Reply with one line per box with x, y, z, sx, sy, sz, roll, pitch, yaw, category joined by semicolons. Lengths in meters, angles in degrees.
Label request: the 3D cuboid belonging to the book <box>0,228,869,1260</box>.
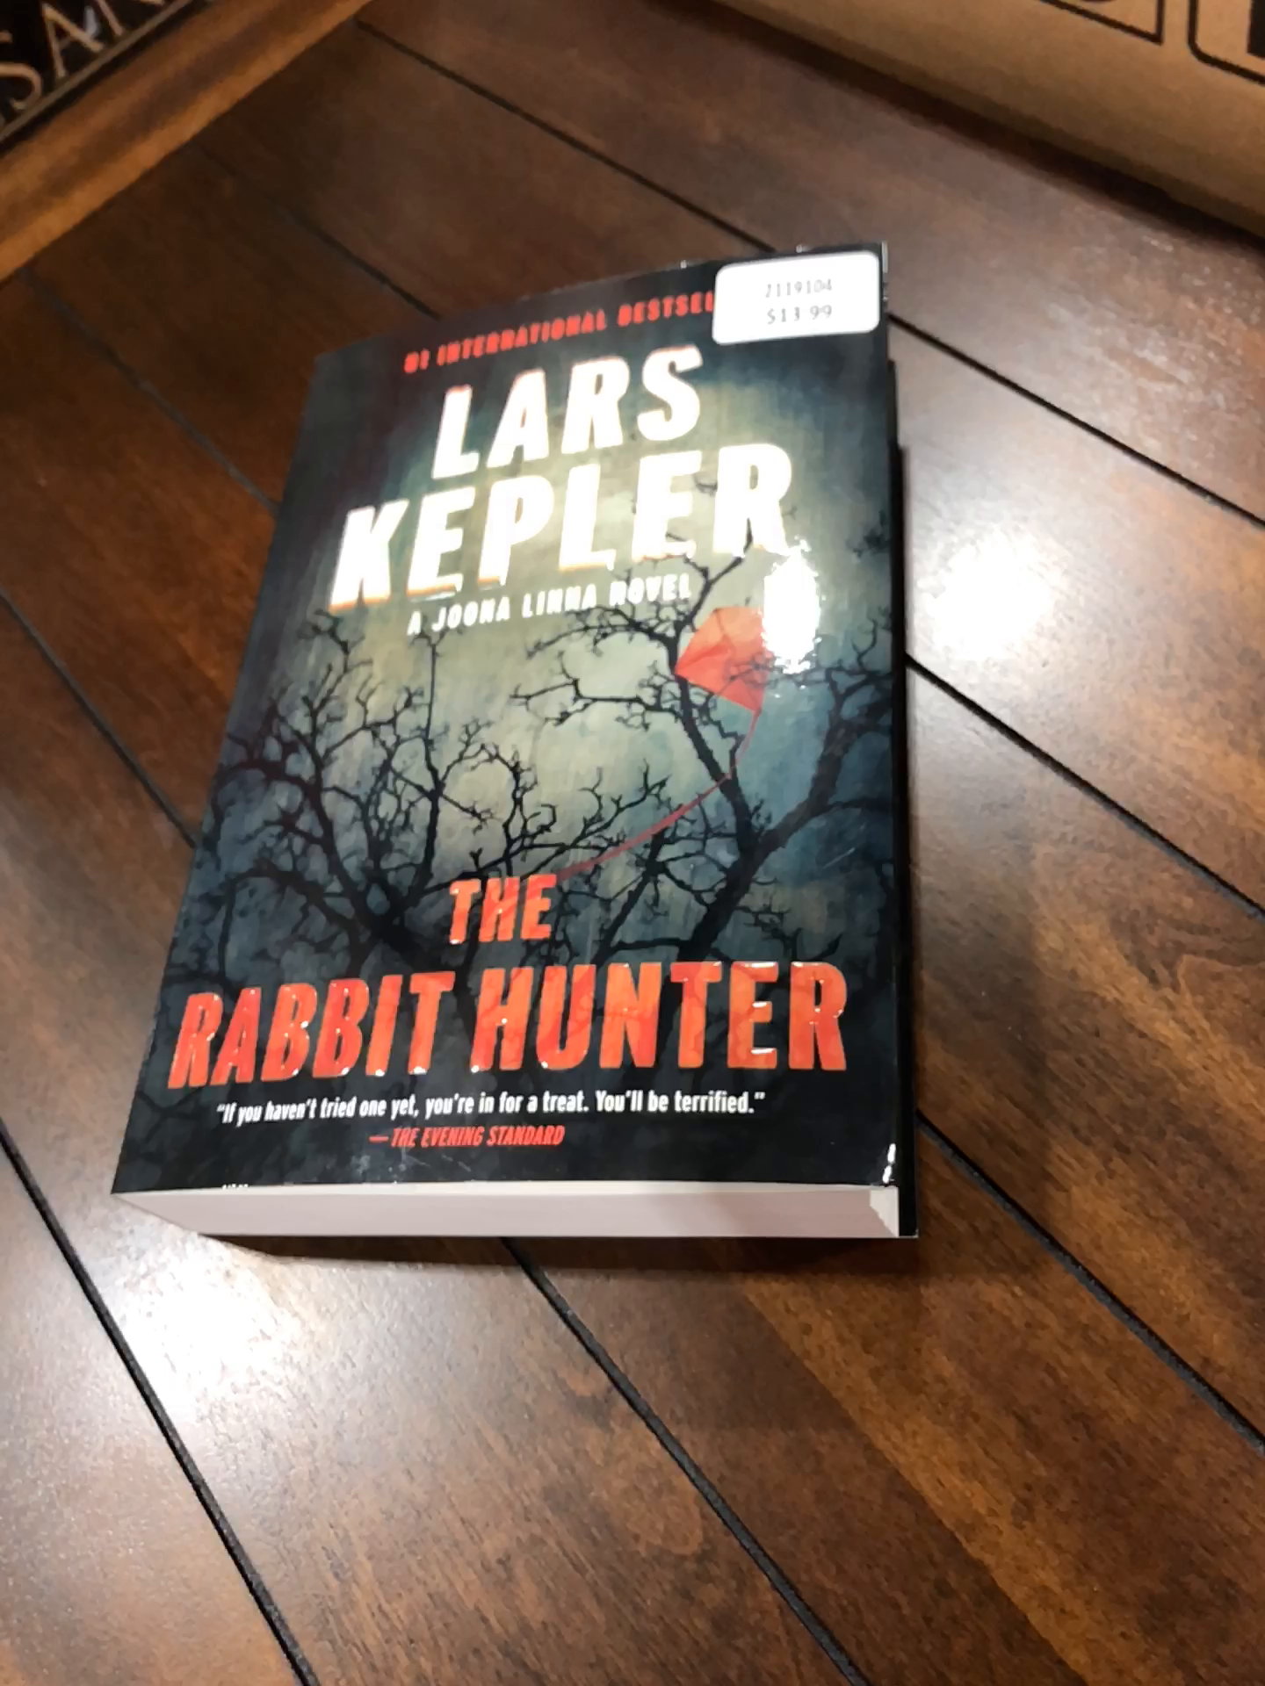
-0.032;-0.028;0.313;0.159;0.046;0.222;-4;61;15;book
